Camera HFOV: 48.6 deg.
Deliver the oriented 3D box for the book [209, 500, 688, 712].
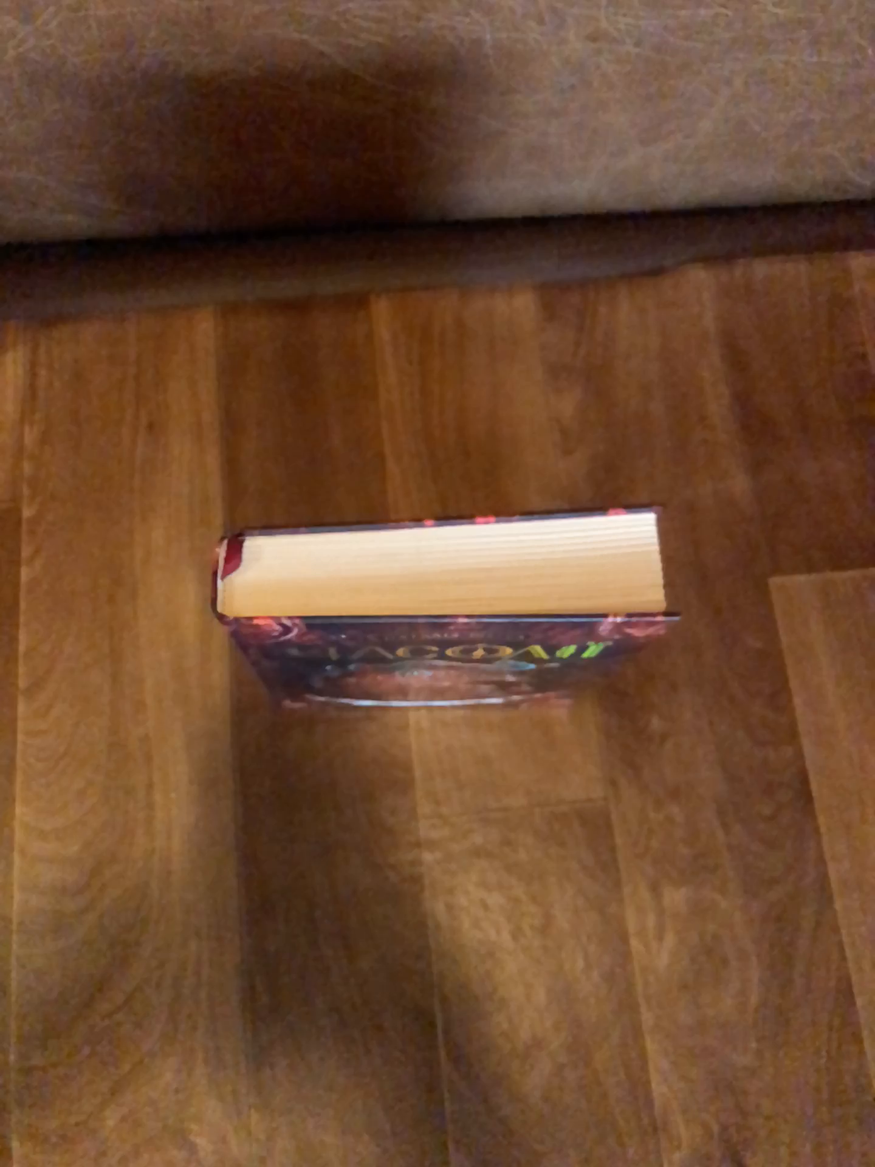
[{"bbox_3d":[-0.002,0.021,0.454,0.170,0.221,0.040,-1,74,-4],"label":"book"}]
